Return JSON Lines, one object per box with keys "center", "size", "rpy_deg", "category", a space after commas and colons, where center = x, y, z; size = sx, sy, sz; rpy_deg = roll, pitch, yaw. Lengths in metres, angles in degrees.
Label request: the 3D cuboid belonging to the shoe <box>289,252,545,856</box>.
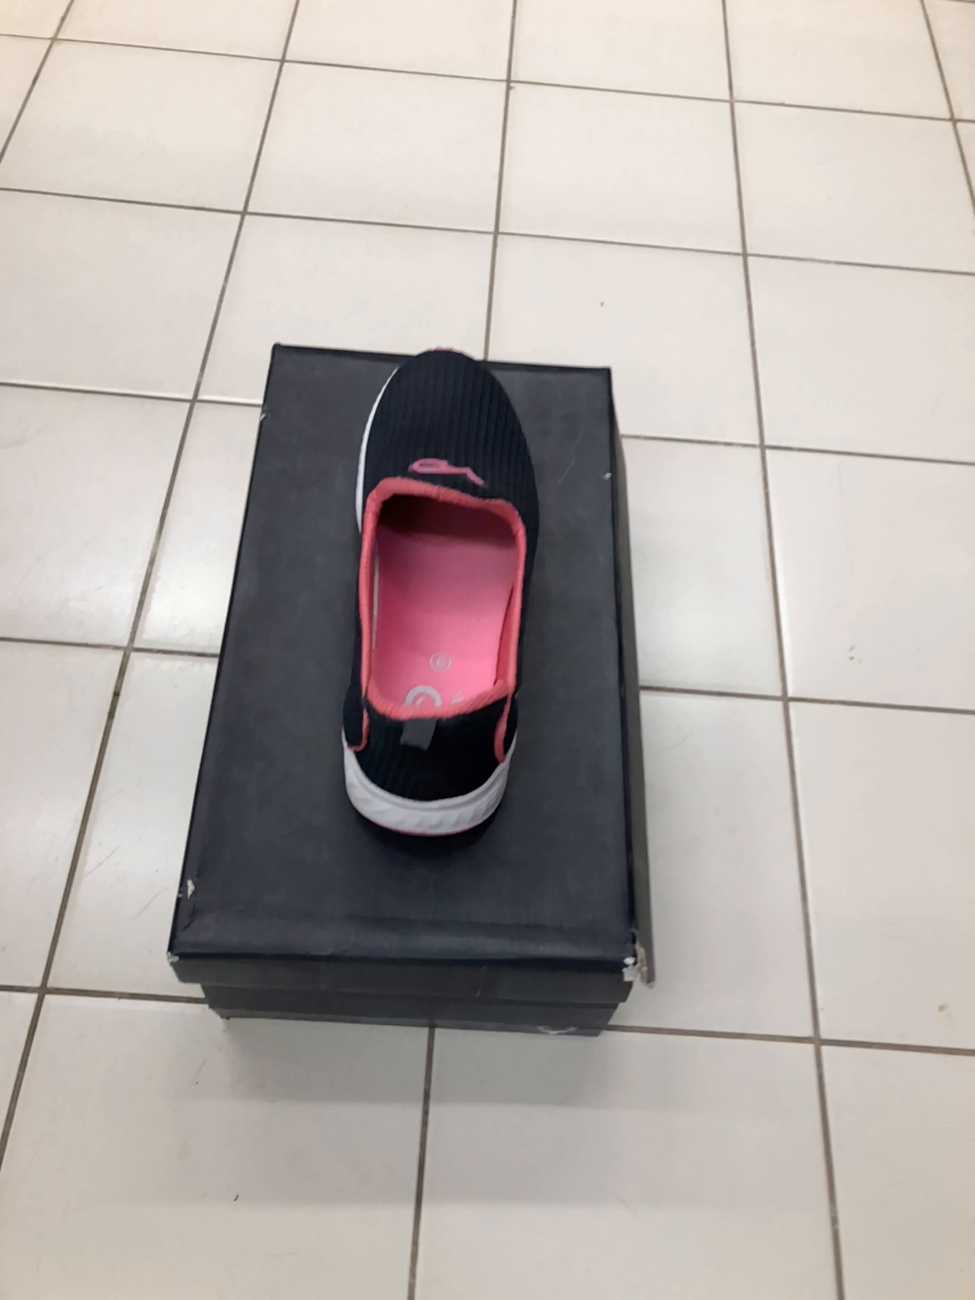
{"center": [-0.025, -0.052, 0.510], "size": [0.090, 0.099, 0.271], "rpy_deg": [4, 60, -2], "category": "shoe"}
